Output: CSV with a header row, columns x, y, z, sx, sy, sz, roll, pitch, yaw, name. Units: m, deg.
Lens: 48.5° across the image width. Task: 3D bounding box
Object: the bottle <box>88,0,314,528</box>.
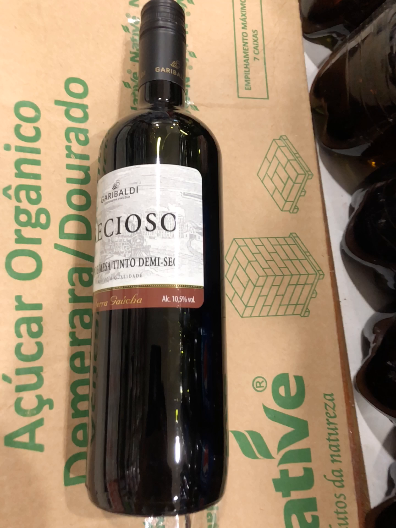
x,y,z,sx,sy,sz,roll,pitch,yaw,name
-0.005,-0.035,0.260,0.090,0.080,0.340,5,76,-21,bottle
